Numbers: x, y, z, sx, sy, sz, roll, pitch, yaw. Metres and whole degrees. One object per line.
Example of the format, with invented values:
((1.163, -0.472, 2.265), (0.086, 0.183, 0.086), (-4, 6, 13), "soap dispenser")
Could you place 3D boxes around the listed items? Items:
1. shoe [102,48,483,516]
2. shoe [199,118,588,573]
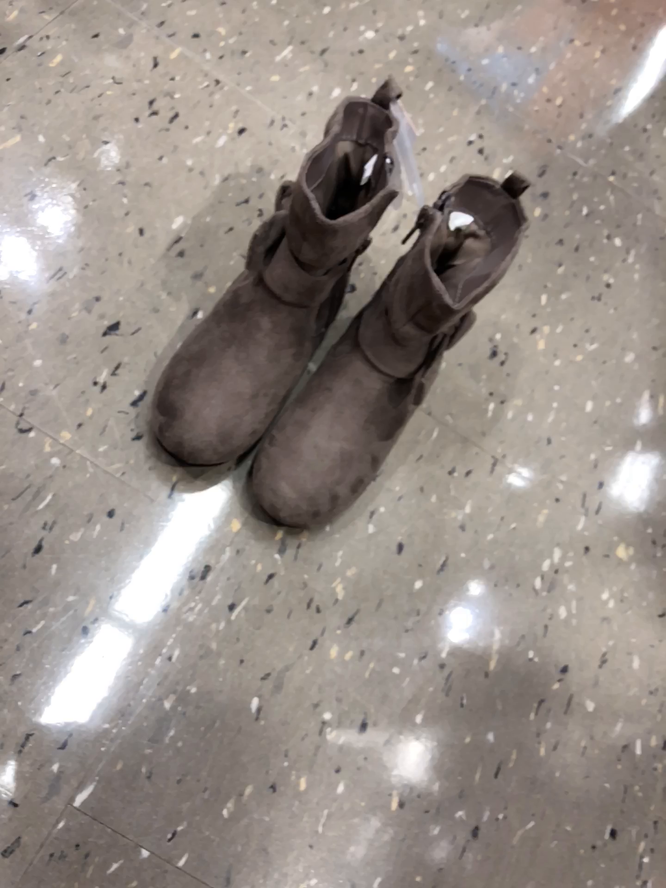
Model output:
((-0.028, -0.082, 0.414), (0.080, 0.160, 0.200), (36, 63, -2), "shoe")
((0.028, -0.047, 0.419), (0.080, 0.160, 0.200), (36, 63, -2), "shoe")
